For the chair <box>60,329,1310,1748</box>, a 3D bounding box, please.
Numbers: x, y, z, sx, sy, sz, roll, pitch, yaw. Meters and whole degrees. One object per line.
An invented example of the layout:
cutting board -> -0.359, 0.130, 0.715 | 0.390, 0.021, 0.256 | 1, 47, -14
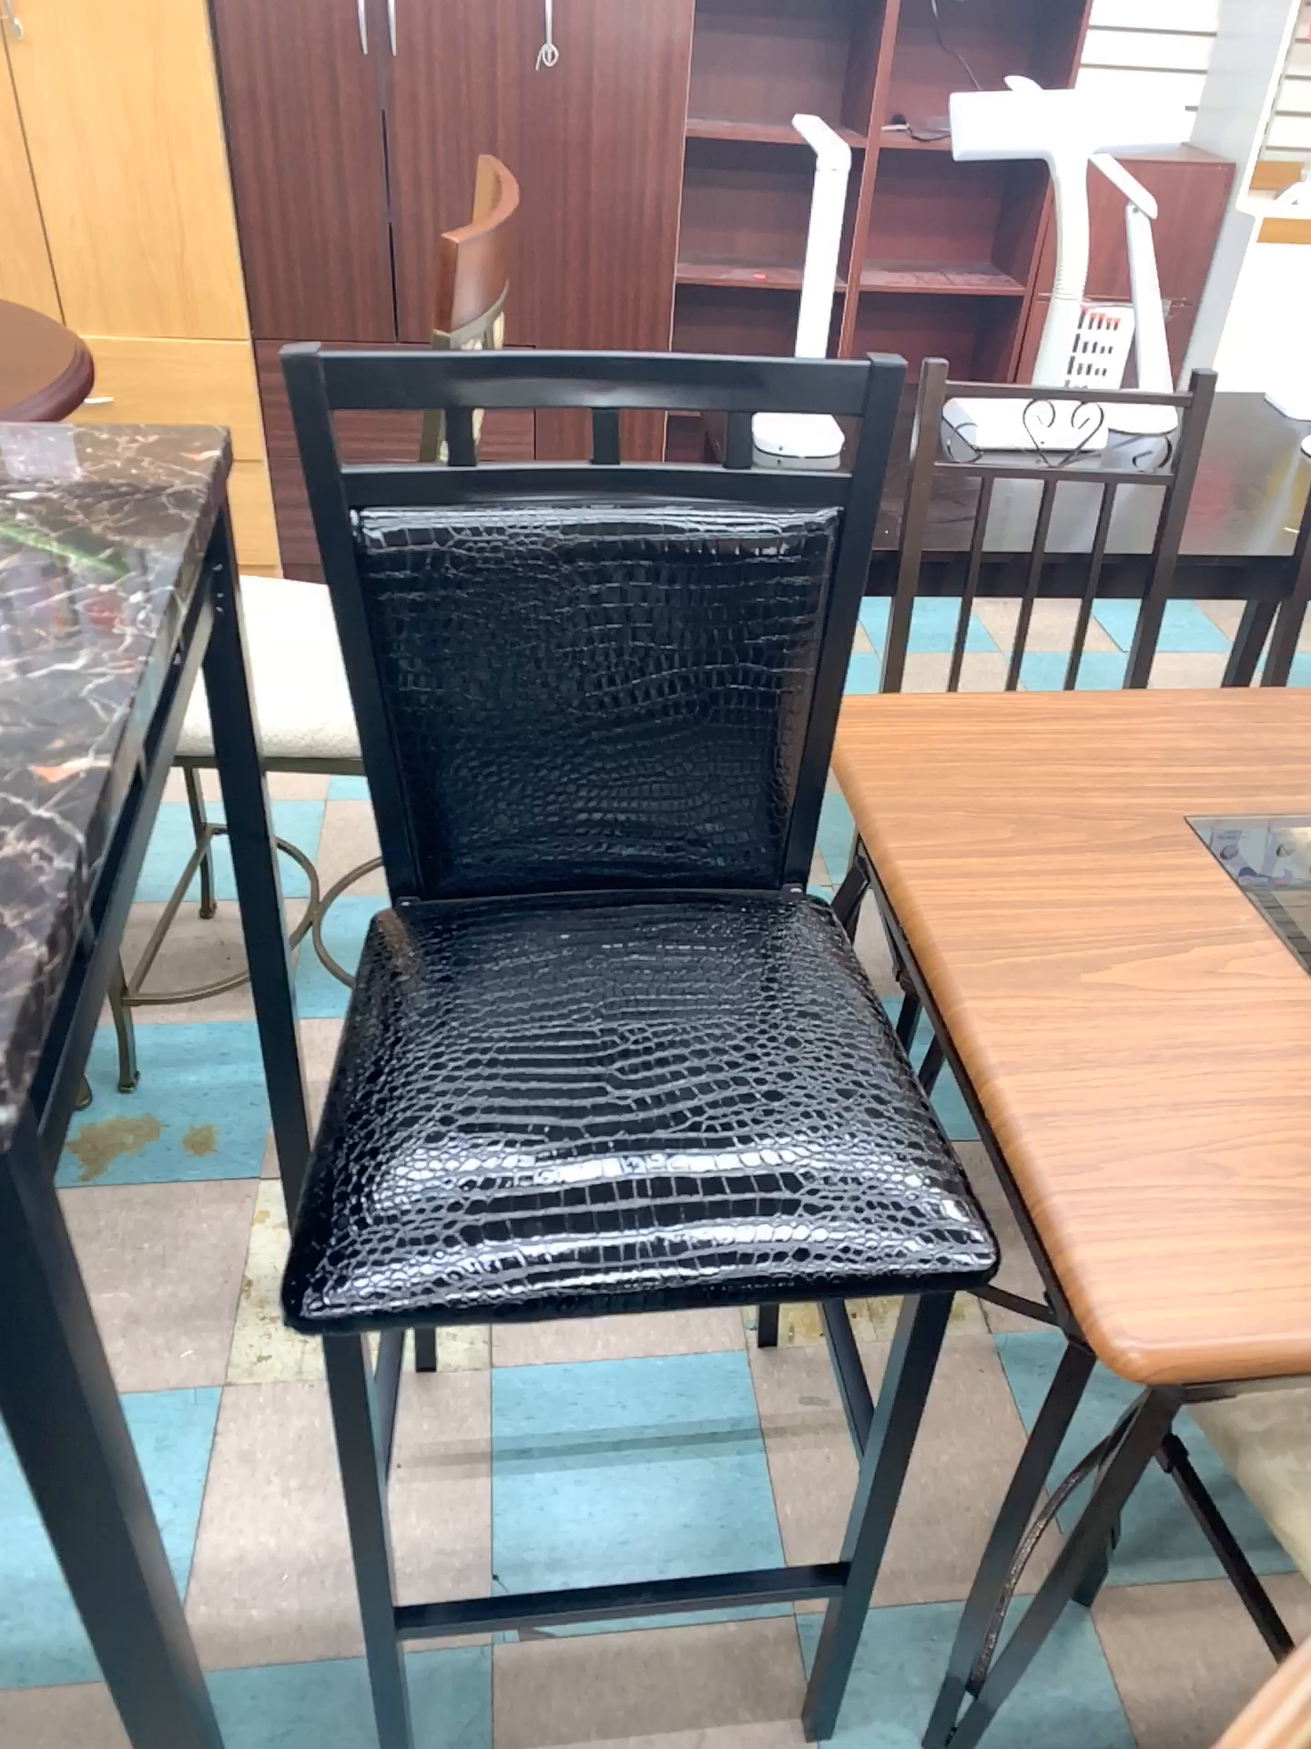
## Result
chair -> -0.018, 0.214, 0.932 | 0.444, 1.026, 0.419 | -1, 37, -6
